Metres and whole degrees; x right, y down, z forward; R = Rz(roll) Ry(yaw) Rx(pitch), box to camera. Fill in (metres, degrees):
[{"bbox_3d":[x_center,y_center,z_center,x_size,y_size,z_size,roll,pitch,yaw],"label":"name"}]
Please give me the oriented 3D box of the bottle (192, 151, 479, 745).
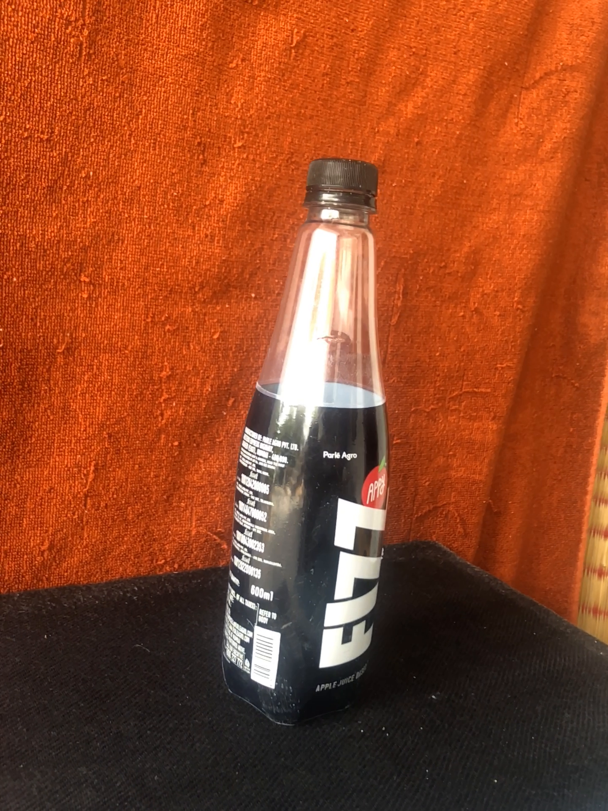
[{"bbox_3d":[0.011,0.015,0.286,0.060,0.219,0.070,16,14,35],"label":"bottle"}]
